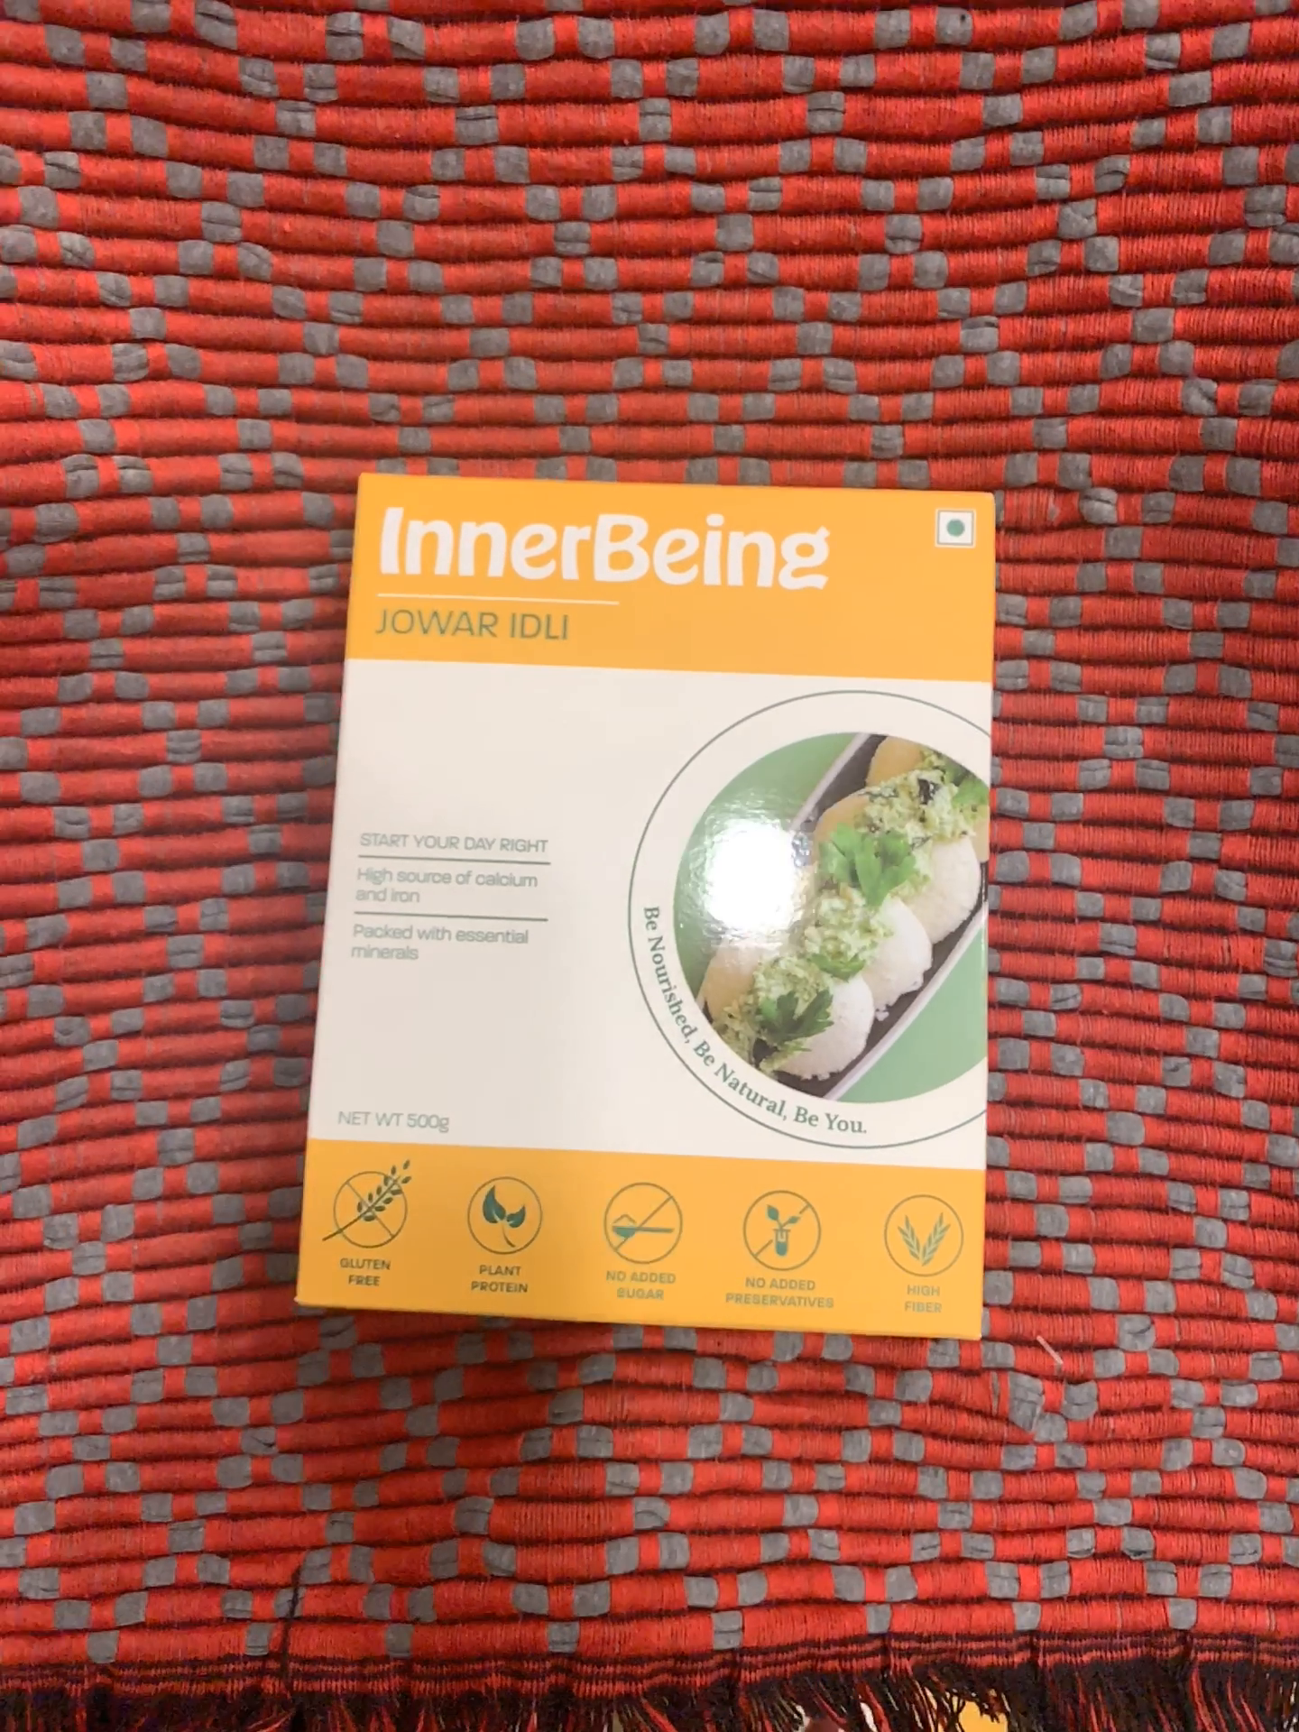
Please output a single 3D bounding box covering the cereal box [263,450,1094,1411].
[{"bbox_3d":[0.005,0.014,0.298,0.150,0.070,0.190,0,77,-1],"label":"cereal box"}]
